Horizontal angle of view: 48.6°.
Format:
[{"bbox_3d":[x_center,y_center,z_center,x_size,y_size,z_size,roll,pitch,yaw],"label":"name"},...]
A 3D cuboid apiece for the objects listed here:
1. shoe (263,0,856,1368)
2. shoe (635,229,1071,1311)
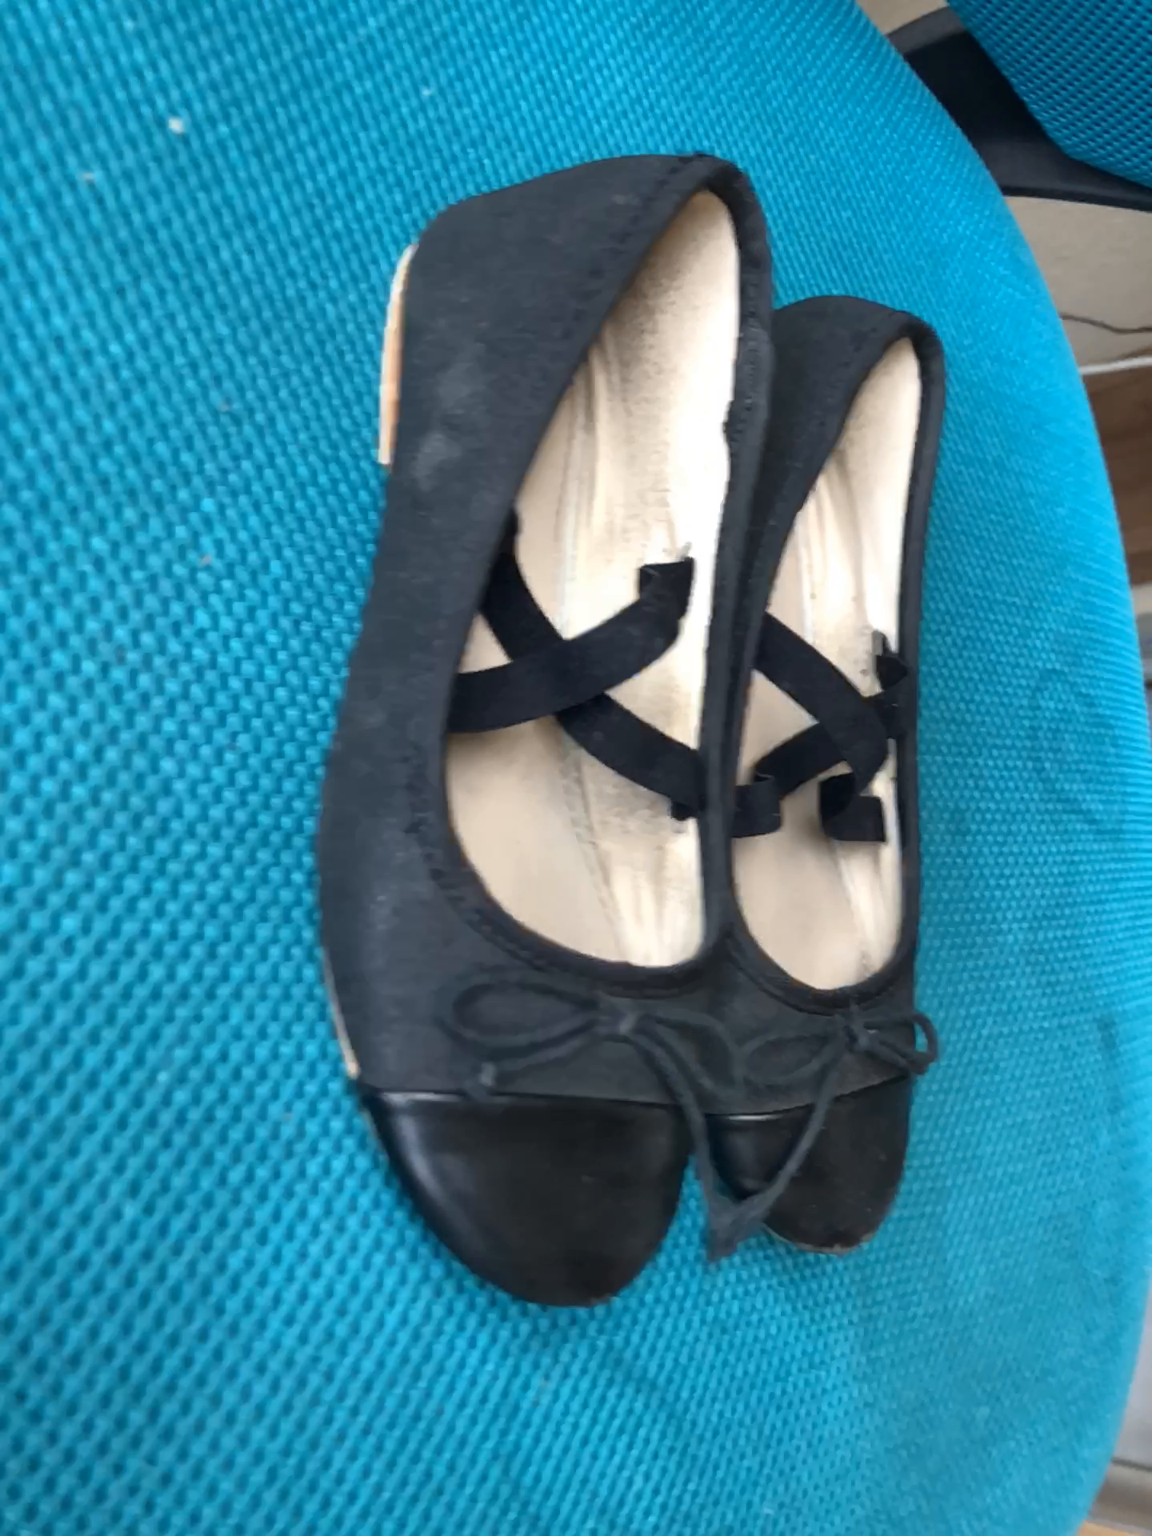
[{"bbox_3d":[0.001,-0.015,0.216,0.081,0.050,0.194,10,76,-44],"label":"shoe"},{"bbox_3d":[0.056,0.000,0.263,0.069,0.050,0.190,8,77,-45],"label":"shoe"}]
